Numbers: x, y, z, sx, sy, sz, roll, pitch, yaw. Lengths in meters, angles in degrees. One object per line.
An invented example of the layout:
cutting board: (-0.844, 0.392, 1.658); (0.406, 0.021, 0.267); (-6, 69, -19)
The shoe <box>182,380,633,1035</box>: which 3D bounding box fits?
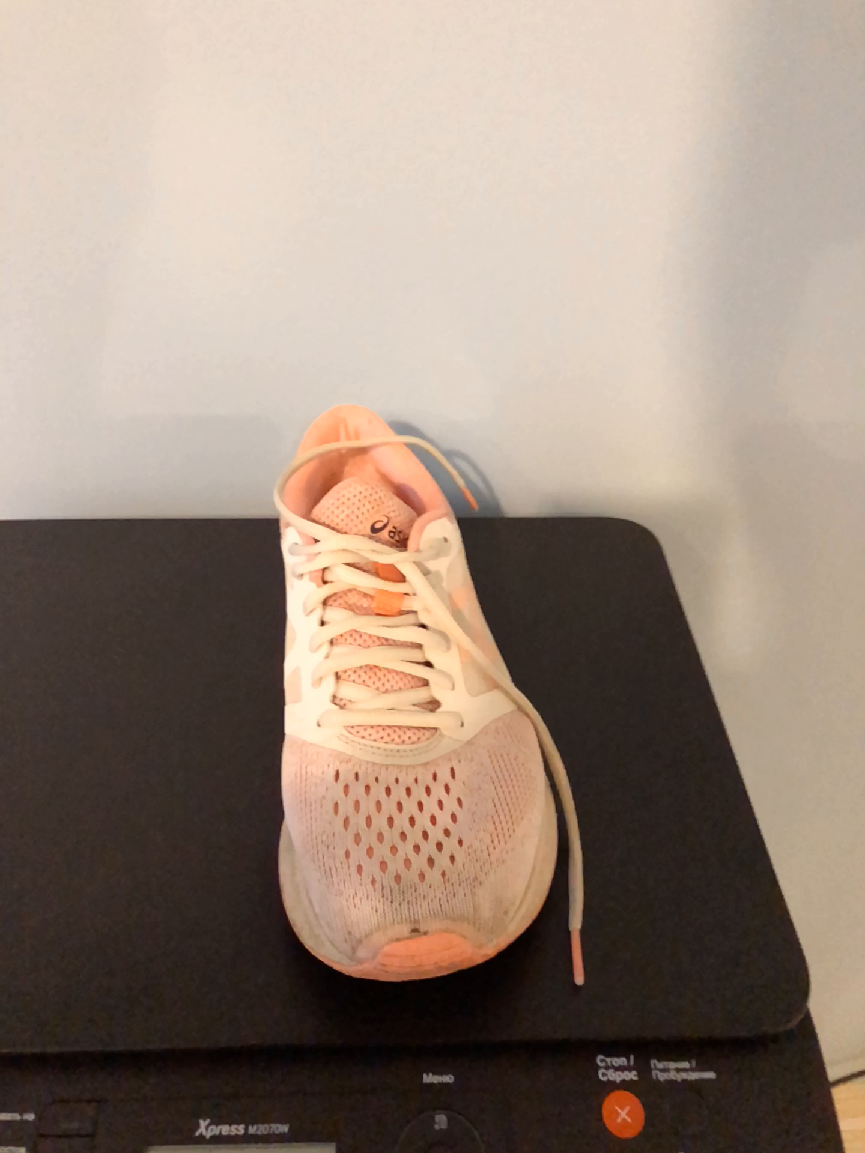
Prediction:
shoe: (-0.016, 0.026, 0.372); (0.116, 0.089, 0.255); (-2, 39, -4)
